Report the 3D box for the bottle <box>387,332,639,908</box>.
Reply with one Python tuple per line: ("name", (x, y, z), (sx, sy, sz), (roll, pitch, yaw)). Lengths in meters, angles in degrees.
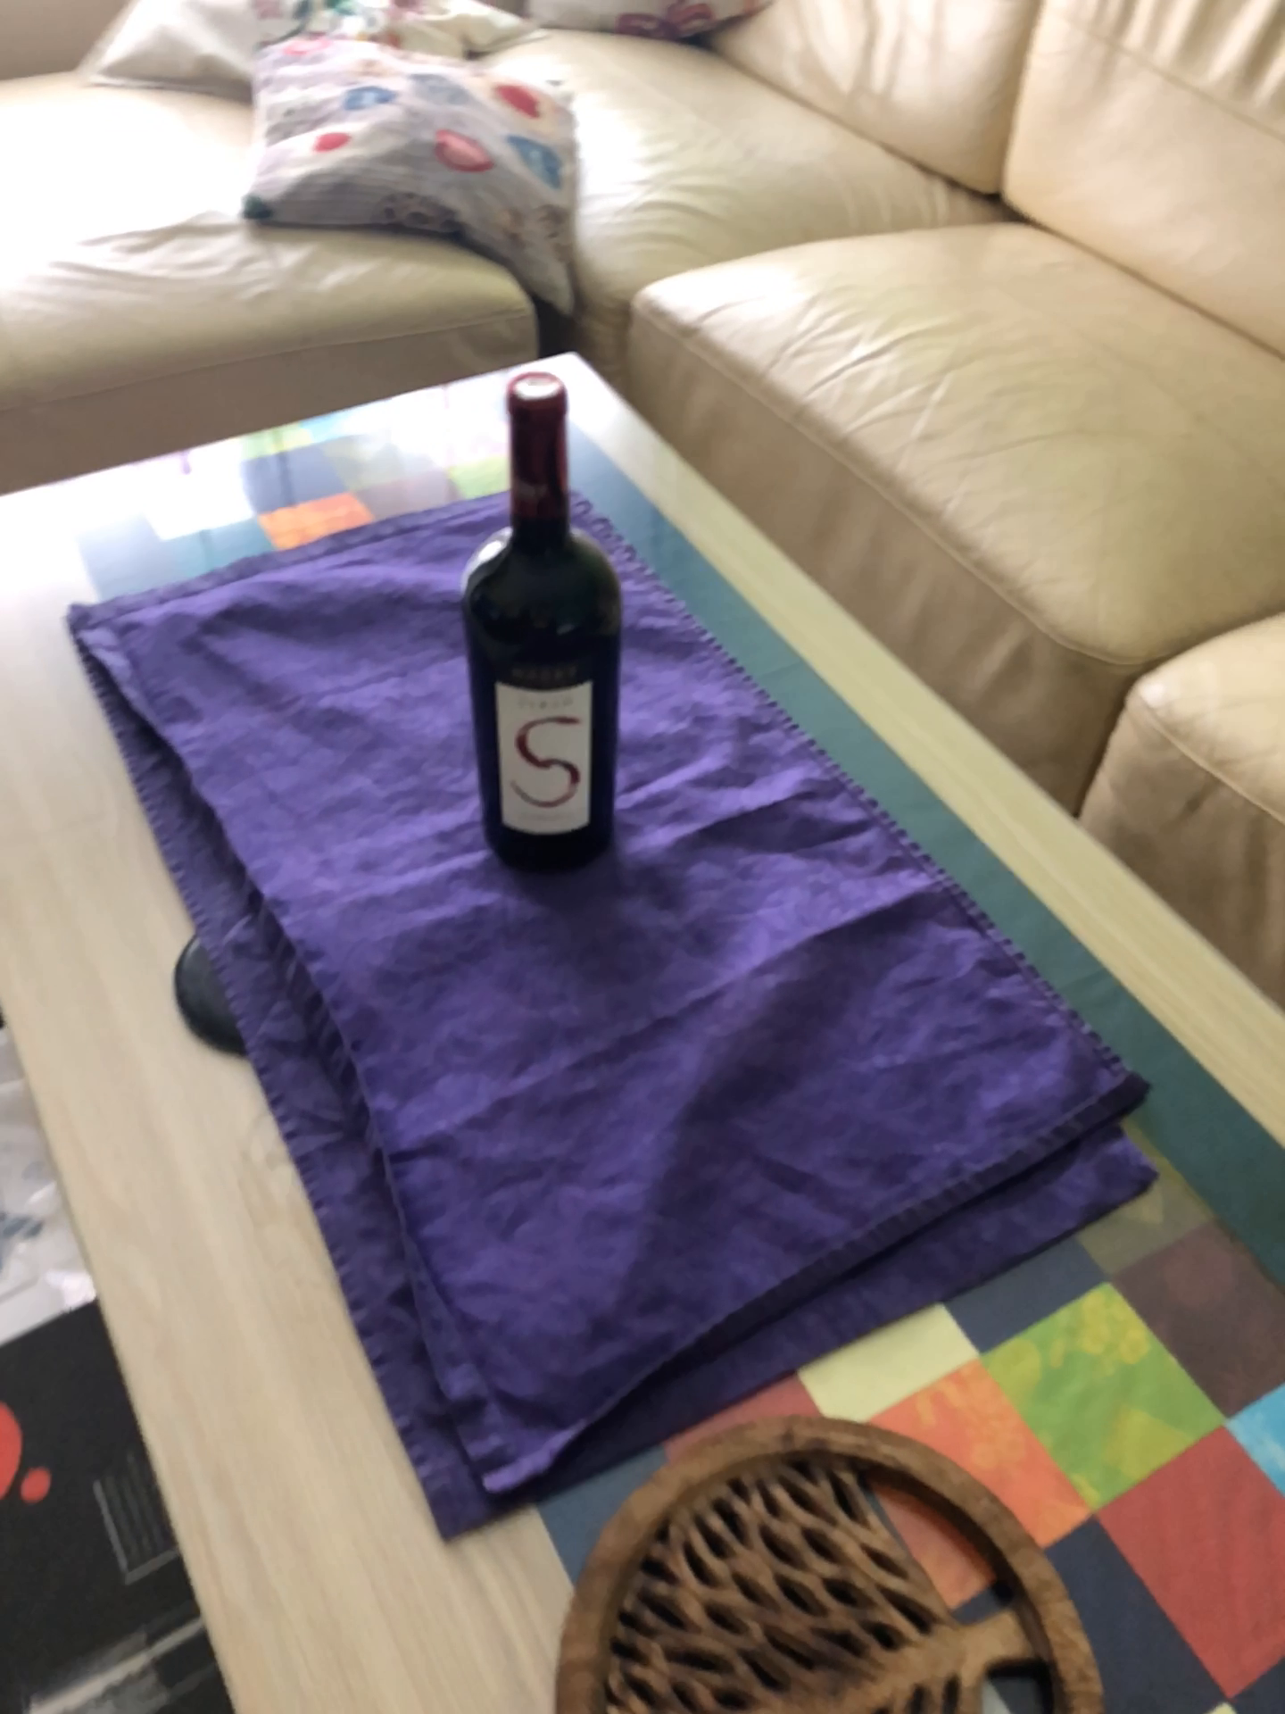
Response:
("bottle", (-0.062, -0.104, 0.687), (0.090, 0.269, 0.090), (2, 46, -2))
